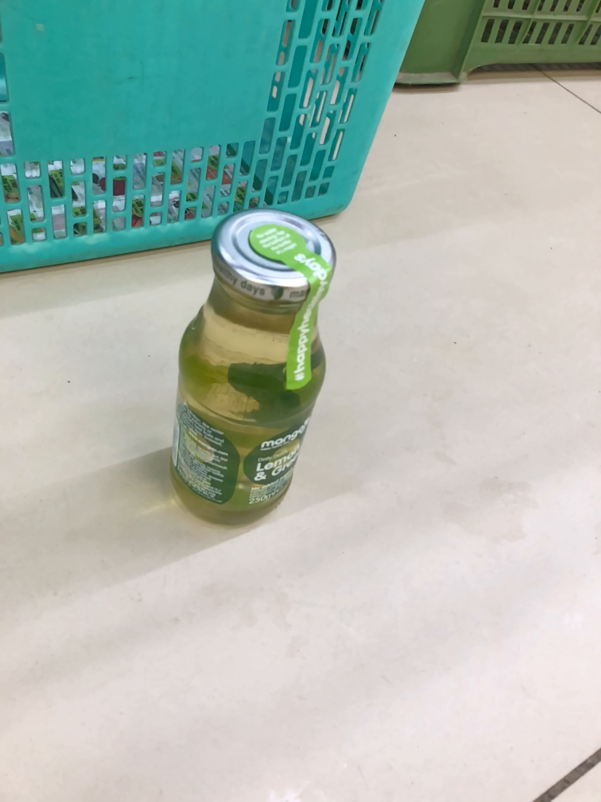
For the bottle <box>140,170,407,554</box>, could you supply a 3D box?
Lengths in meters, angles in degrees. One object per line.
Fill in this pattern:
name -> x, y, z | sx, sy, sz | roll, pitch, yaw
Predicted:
bottle -> -0.023, -0.011, 0.298 | 0.070, 0.149, 0.070 | 7, 48, -8
